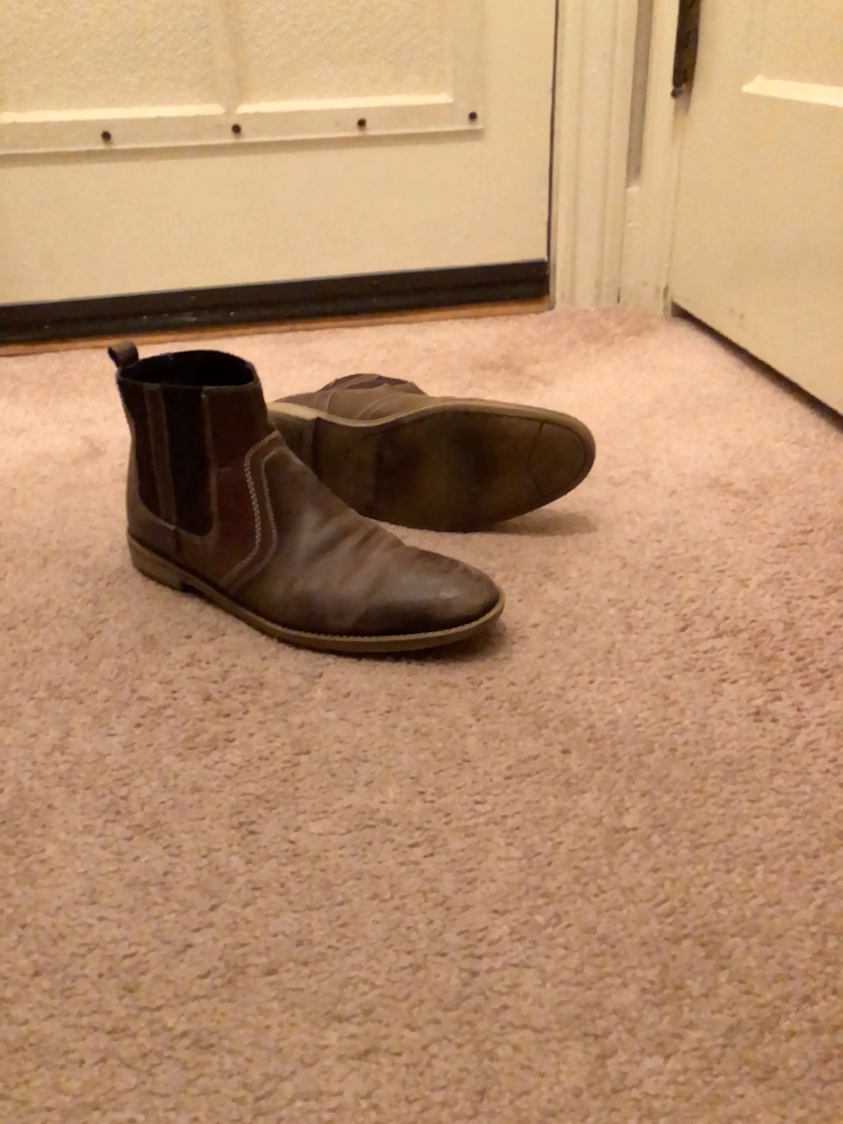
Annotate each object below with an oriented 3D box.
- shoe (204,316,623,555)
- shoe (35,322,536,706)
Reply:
[{"bbox_3d":[0.003,-0.123,0.816,0.313,0.114,0.187,8,33,17],"label":"shoe"},{"bbox_3d":[-0.089,-0.046,0.633,0.308,0.175,0.116,13,33,25],"label":"shoe"}]
